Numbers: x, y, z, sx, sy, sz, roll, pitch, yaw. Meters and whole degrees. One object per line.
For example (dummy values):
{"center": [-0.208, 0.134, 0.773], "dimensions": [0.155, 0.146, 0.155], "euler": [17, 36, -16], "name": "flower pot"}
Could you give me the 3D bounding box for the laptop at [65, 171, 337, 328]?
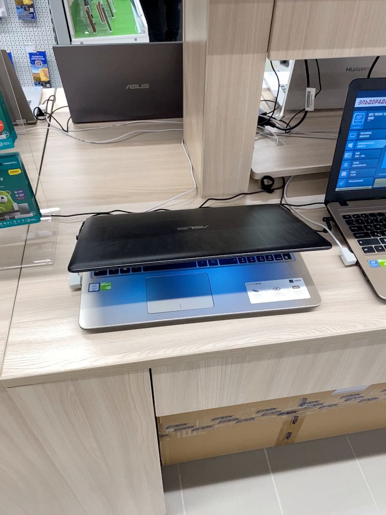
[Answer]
{"center": [0.003, -0.027, 0.662], "dimensions": [0.381, 0.094, 0.241], "euler": [-4, 46, -6], "name": "laptop"}
